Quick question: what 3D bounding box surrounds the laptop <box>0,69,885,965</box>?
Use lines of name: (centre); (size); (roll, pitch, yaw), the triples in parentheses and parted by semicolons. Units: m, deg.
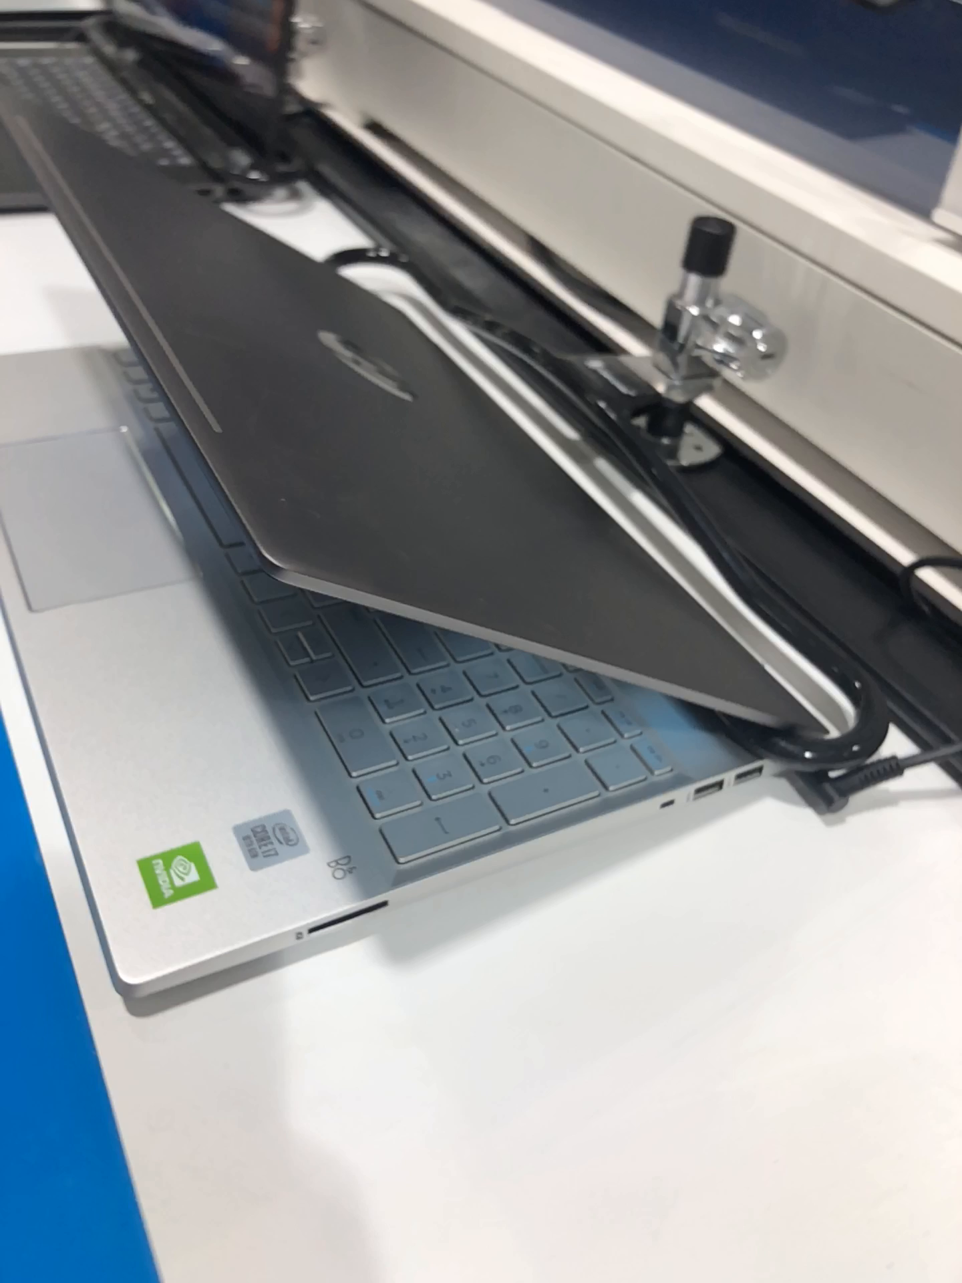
laptop: (-0.072, -0.095, 0.395); (0.215, 0.124, 0.349); (-15, 45, -24)
